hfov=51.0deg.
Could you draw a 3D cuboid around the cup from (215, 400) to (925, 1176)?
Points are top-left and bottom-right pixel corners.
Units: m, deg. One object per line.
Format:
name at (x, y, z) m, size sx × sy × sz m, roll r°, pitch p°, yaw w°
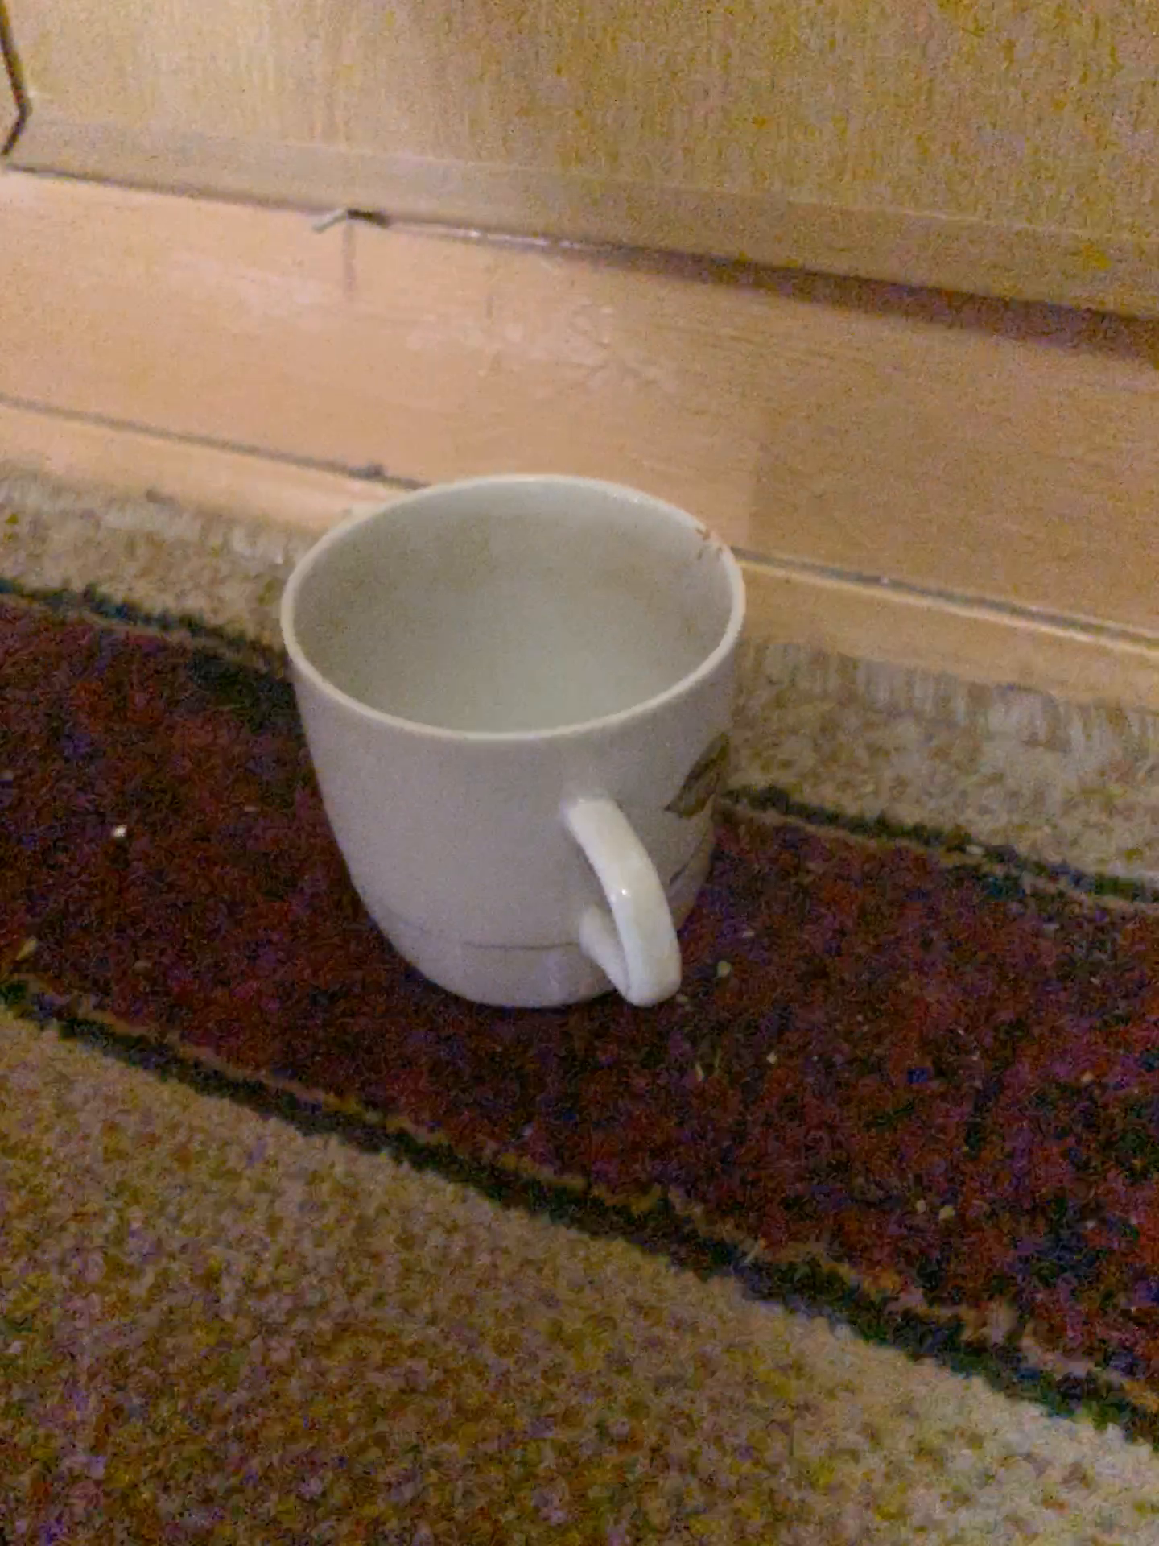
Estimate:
cup at (-0.009, -0.006, 0.232) m, size 0.081 × 0.075 × 0.114 m, roll -18°, pitch 43°, yaw -18°
